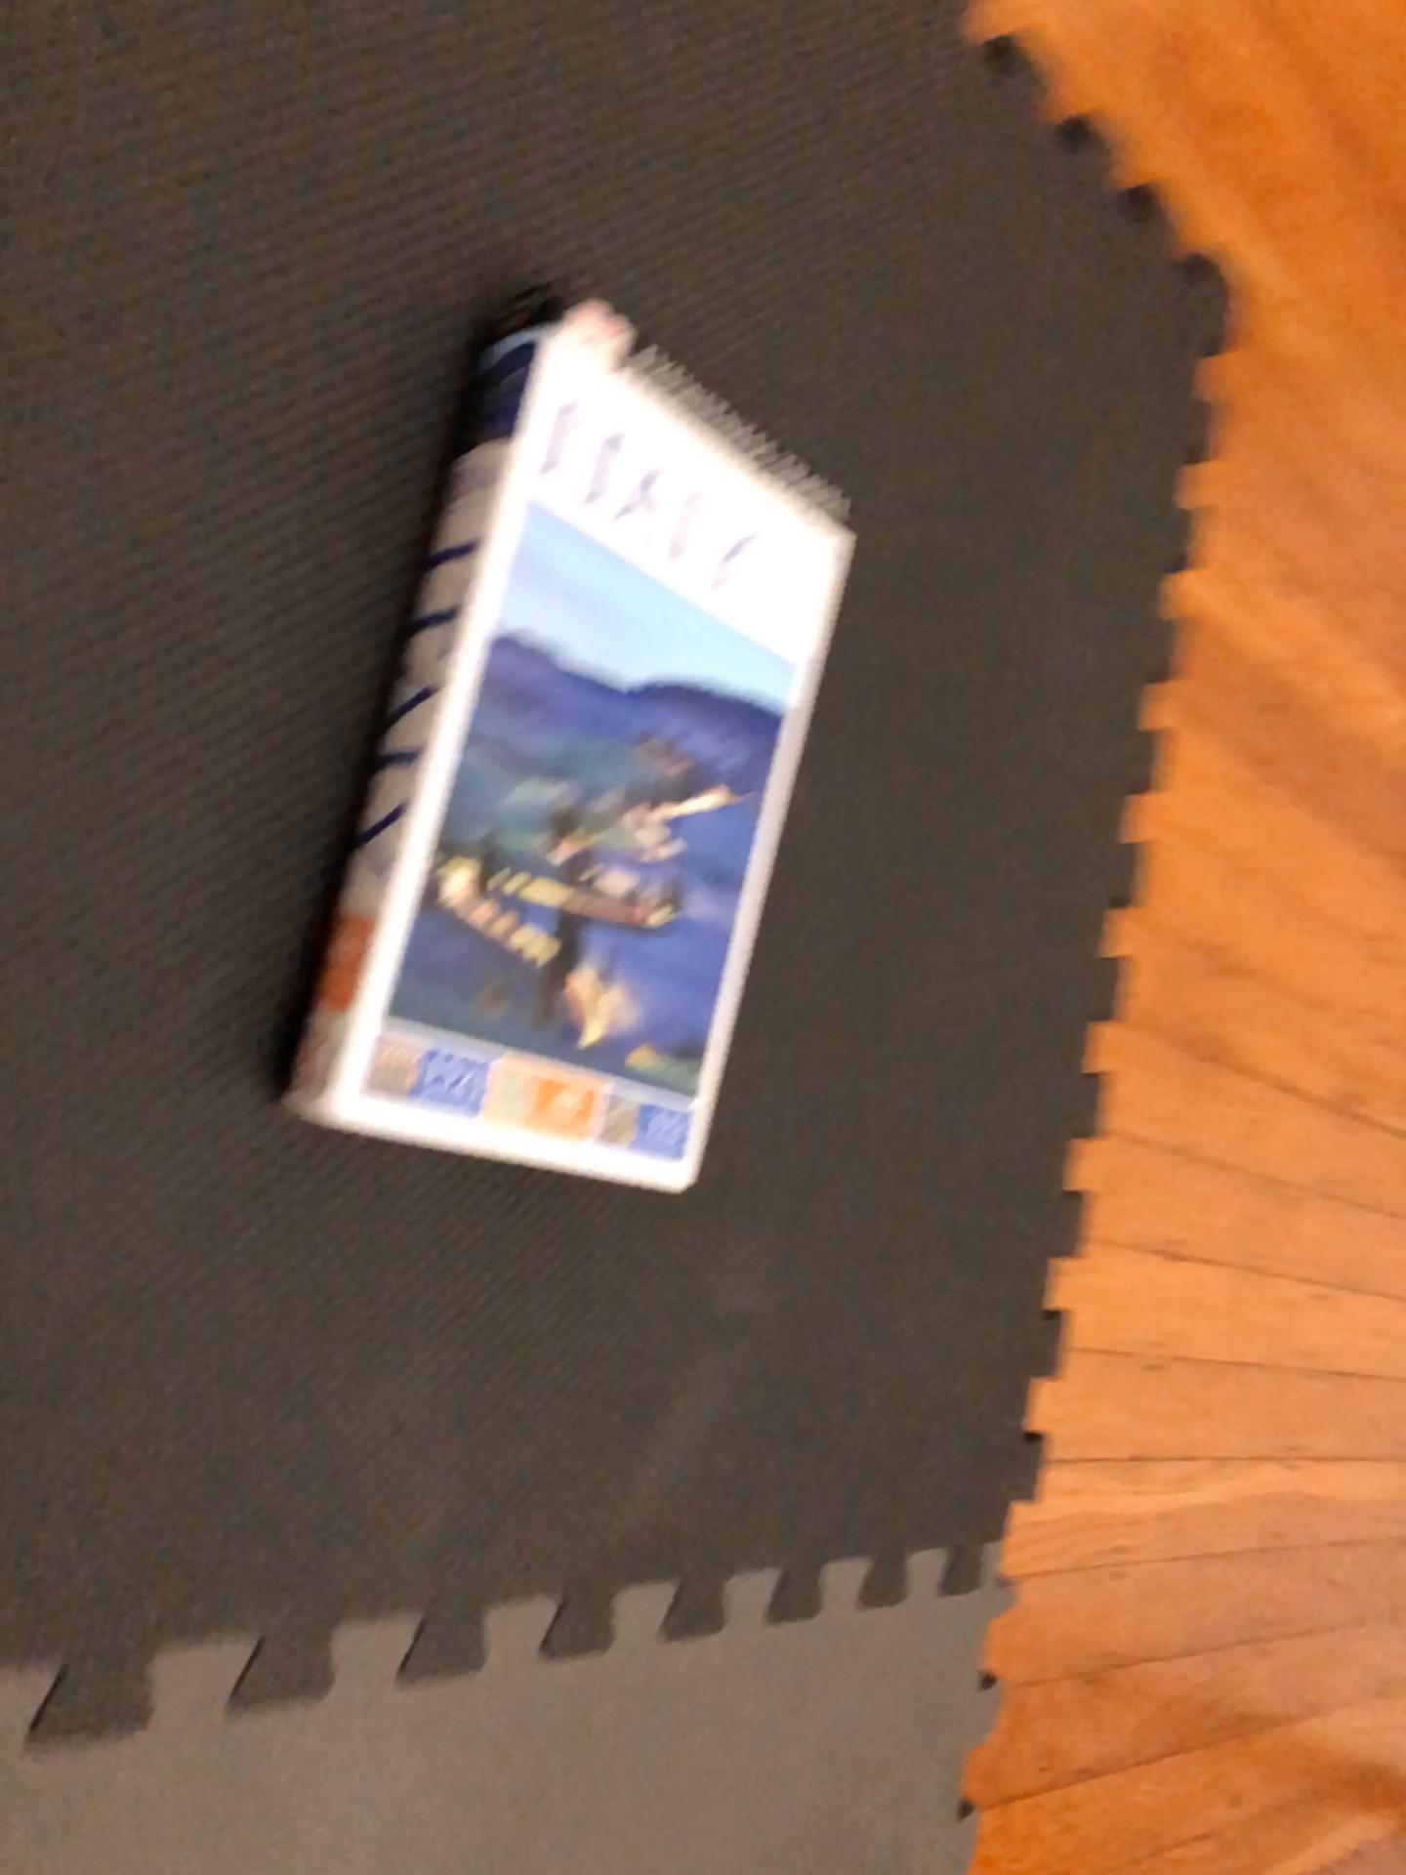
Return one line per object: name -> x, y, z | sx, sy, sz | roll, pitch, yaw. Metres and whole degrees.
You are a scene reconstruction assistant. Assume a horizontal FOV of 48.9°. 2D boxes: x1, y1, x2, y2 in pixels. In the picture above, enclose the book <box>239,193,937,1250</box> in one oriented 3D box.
book -> -0.020, -0.047, 0.441 | 0.161, 0.040, 0.250 | 19, 80, -44
